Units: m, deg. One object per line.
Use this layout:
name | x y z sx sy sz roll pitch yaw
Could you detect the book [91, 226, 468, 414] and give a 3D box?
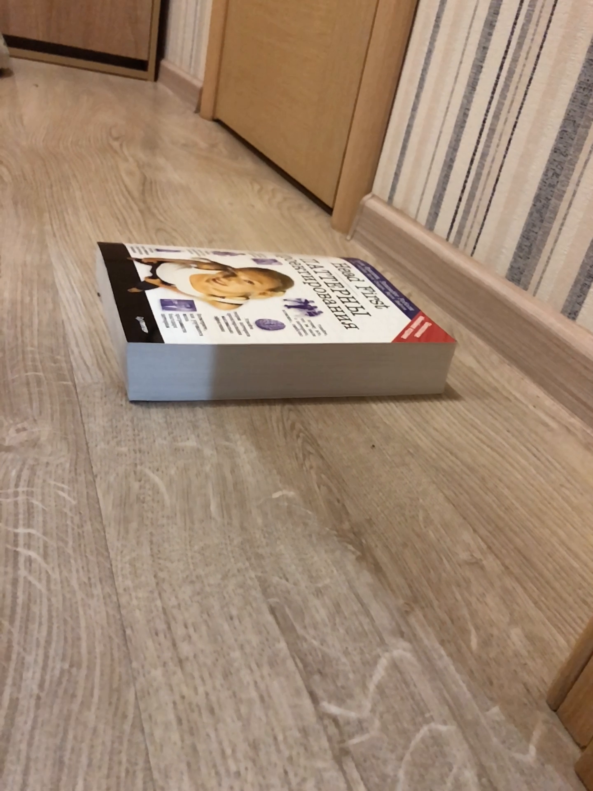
book | -0.027 -0.069 0.517 0.240 0.049 0.207 -3 33 -22
